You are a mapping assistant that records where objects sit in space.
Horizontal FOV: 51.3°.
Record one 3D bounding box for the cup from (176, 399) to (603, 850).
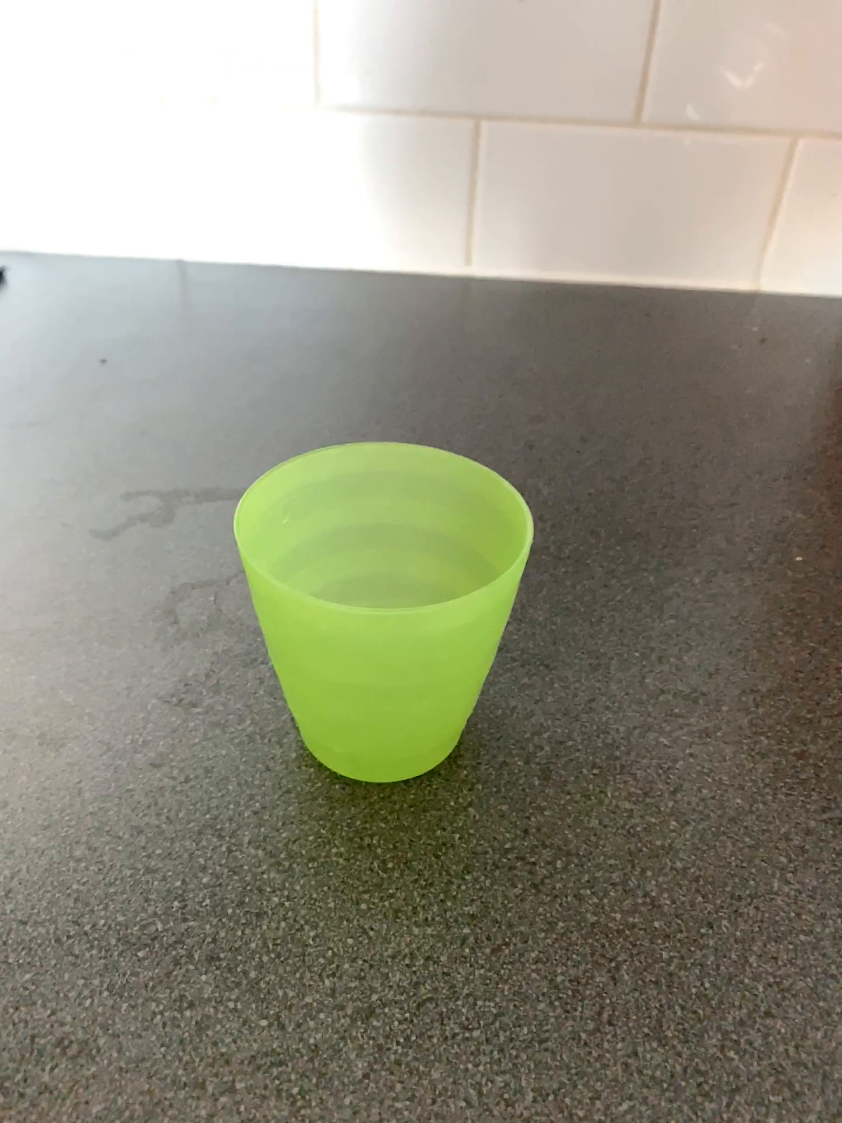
[{"bbox_3d":[-0.012,0.014,0.263,0.090,0.080,0.078,-19,44,-26],"label":"cup"}]
